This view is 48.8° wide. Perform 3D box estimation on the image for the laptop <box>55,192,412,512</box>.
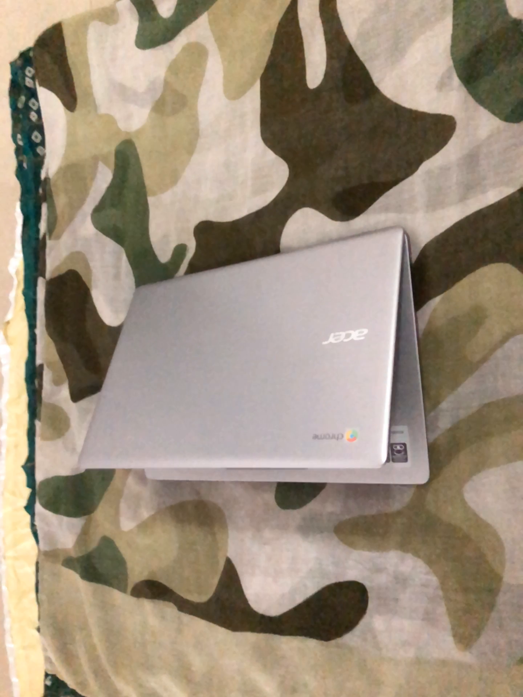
[{"bbox_3d":[-0.037,0.015,0.548,0.312,0.125,0.232,-7,78,32],"label":"laptop"}]
